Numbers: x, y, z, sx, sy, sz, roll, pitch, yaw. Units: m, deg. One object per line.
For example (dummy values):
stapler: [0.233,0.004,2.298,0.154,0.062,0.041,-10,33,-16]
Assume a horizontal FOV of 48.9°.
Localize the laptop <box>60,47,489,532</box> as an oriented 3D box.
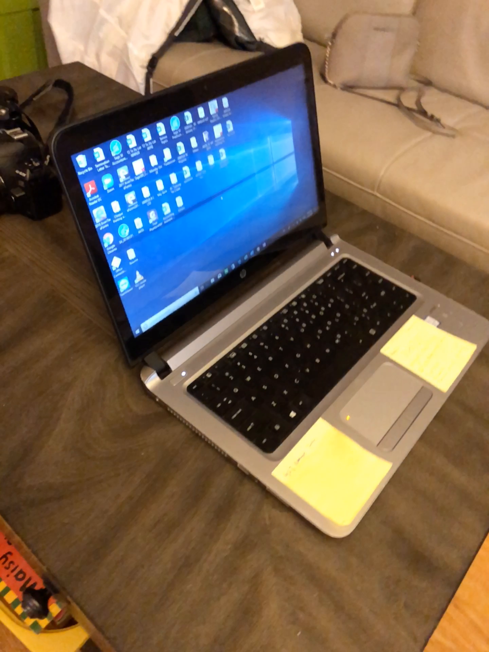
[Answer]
laptop: [0.073,-0.069,0.504,0.307,0.208,0.320,34,51,23]
